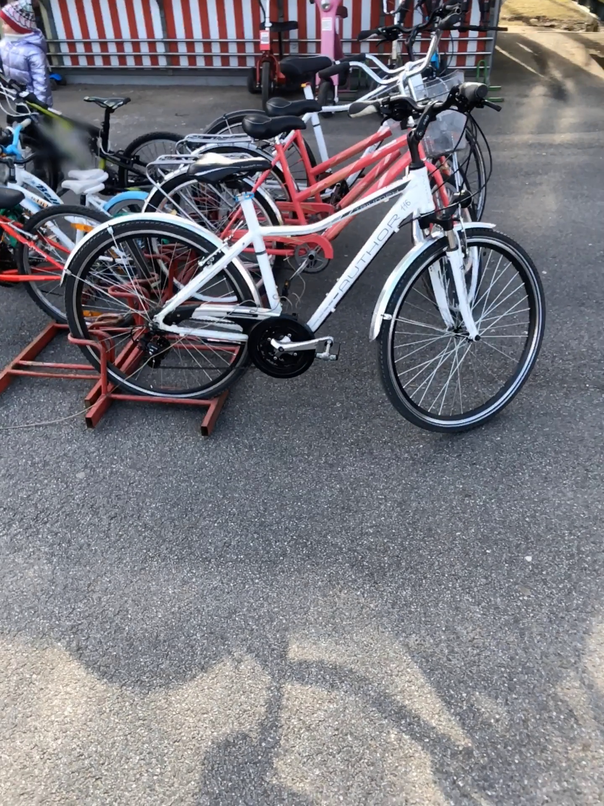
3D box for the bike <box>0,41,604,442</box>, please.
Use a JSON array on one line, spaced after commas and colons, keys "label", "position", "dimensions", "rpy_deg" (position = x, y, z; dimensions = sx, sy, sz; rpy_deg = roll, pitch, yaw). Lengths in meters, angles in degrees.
[{"label": "bike", "position": [0.008, -0.531, 2.278], "dimensions": [1.697, 1.112, 0.648], "rpy_deg": [-2, 37, 1]}]
